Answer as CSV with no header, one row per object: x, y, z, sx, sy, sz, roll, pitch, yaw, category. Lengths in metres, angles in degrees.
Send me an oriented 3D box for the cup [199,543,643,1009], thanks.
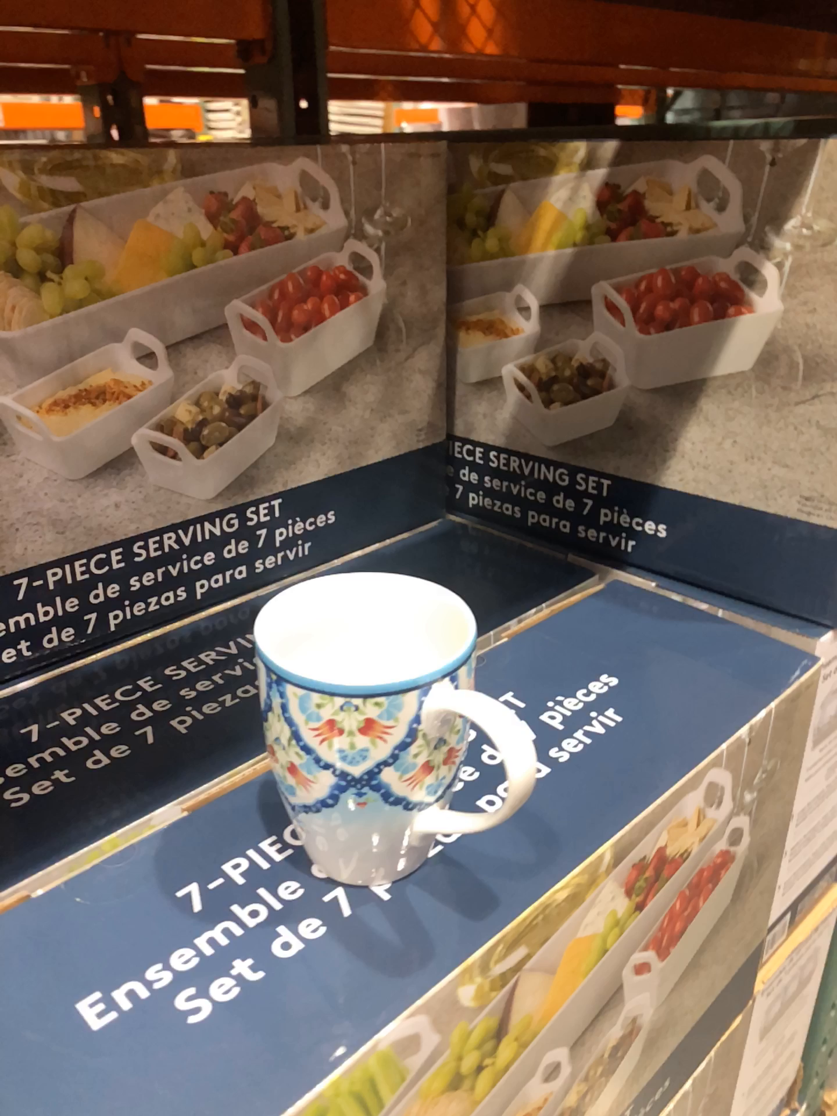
-0.002,0.069,0.352,0.137,0.096,0.090,21,32,40,cup
